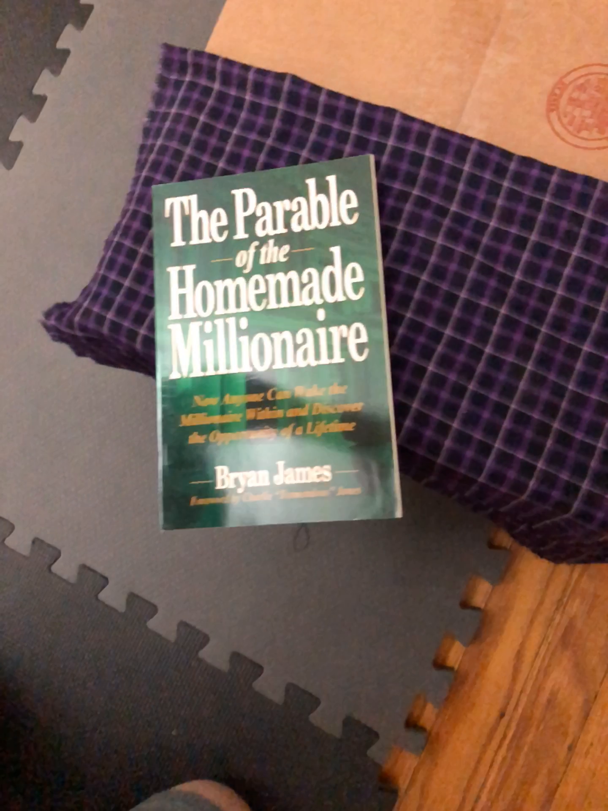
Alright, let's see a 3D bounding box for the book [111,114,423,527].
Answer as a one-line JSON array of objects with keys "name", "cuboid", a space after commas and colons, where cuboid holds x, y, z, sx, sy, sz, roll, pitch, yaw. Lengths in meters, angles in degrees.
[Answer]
[{"name": "book", "cuboid": [-0.025, -0.045, 0.370, 0.160, 0.020, 0.210, -5, 81, 10]}]
